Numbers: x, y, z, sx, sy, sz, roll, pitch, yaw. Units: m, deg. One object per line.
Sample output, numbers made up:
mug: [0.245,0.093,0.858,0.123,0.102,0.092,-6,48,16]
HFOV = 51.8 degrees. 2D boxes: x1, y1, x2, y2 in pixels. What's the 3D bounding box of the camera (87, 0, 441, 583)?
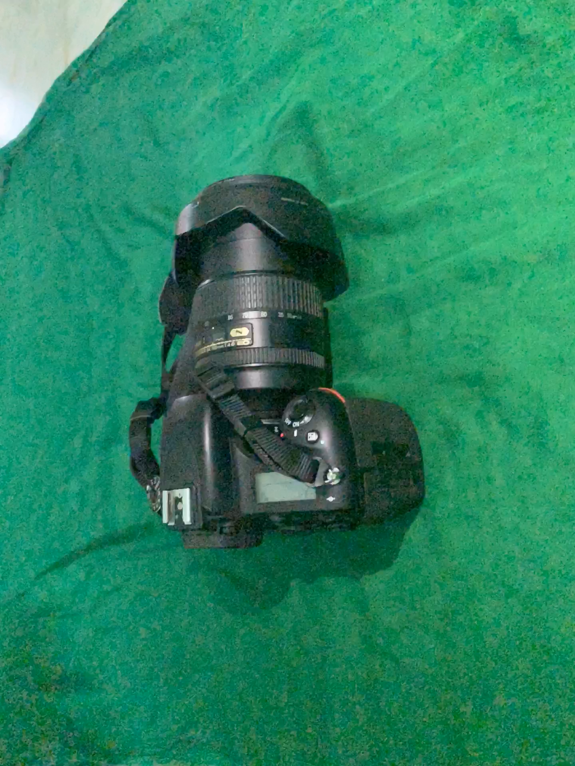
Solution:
camera: [-0.018,-0.039,0.358,0.171,0.100,0.290,-12,71,39]
